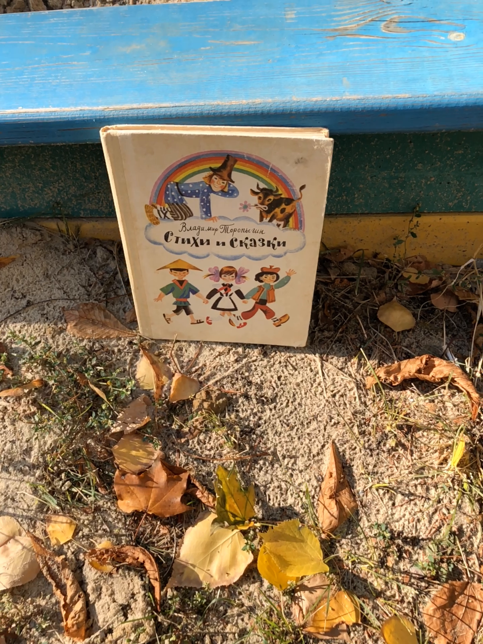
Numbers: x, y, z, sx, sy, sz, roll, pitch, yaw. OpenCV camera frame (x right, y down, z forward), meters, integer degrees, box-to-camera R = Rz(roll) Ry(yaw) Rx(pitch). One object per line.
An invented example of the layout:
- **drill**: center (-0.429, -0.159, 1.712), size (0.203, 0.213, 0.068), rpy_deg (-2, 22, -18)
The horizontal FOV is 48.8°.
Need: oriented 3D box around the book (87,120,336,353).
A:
- **book**: center (-0.019, -0.062, 0.457), size (0.178, 0.213, 0.024), rpy_deg (3, 43, 5)
